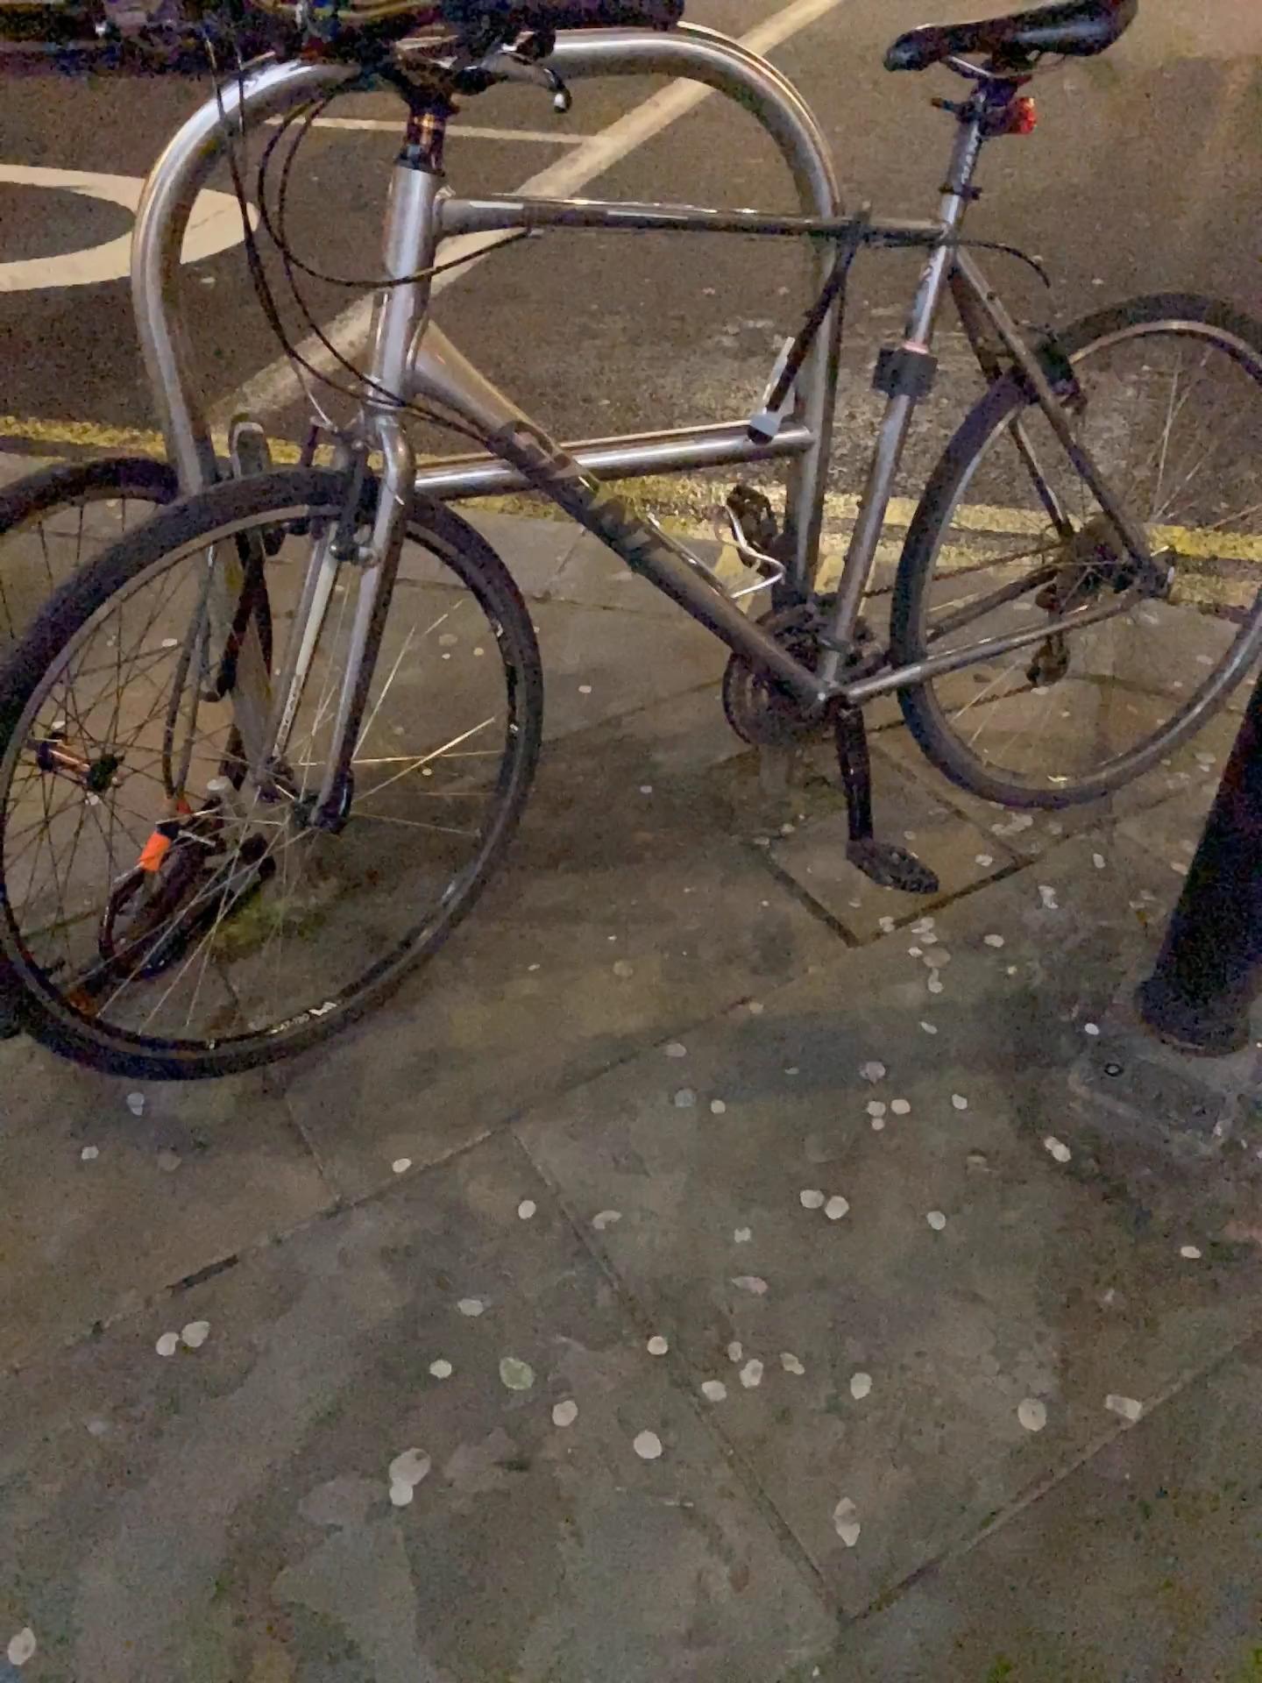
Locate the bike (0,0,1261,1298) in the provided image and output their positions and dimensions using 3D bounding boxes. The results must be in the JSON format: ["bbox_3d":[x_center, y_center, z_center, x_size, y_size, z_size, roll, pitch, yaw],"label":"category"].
[{"bbox_3d":[0.069,-0.441,1.543,1.822,1.124,0.711,-21,45,-21],"label":"bike"}]
